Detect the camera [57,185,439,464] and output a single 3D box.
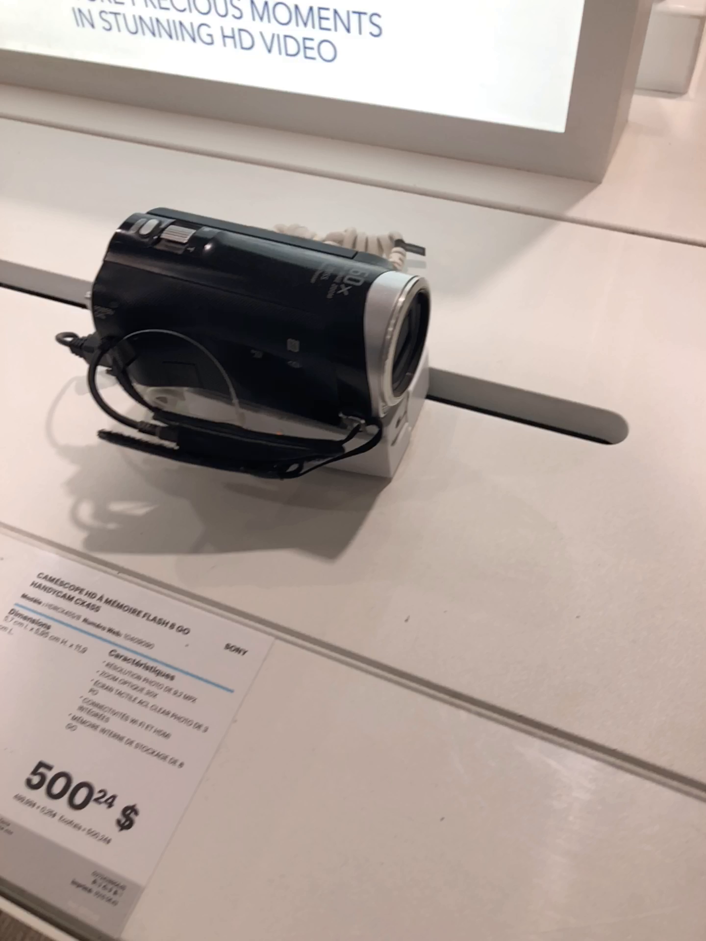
[{"bbox_3d":[-0.035,-0.057,0.295,0.121,0.058,0.057,15,54,17],"label":"camera"}]
